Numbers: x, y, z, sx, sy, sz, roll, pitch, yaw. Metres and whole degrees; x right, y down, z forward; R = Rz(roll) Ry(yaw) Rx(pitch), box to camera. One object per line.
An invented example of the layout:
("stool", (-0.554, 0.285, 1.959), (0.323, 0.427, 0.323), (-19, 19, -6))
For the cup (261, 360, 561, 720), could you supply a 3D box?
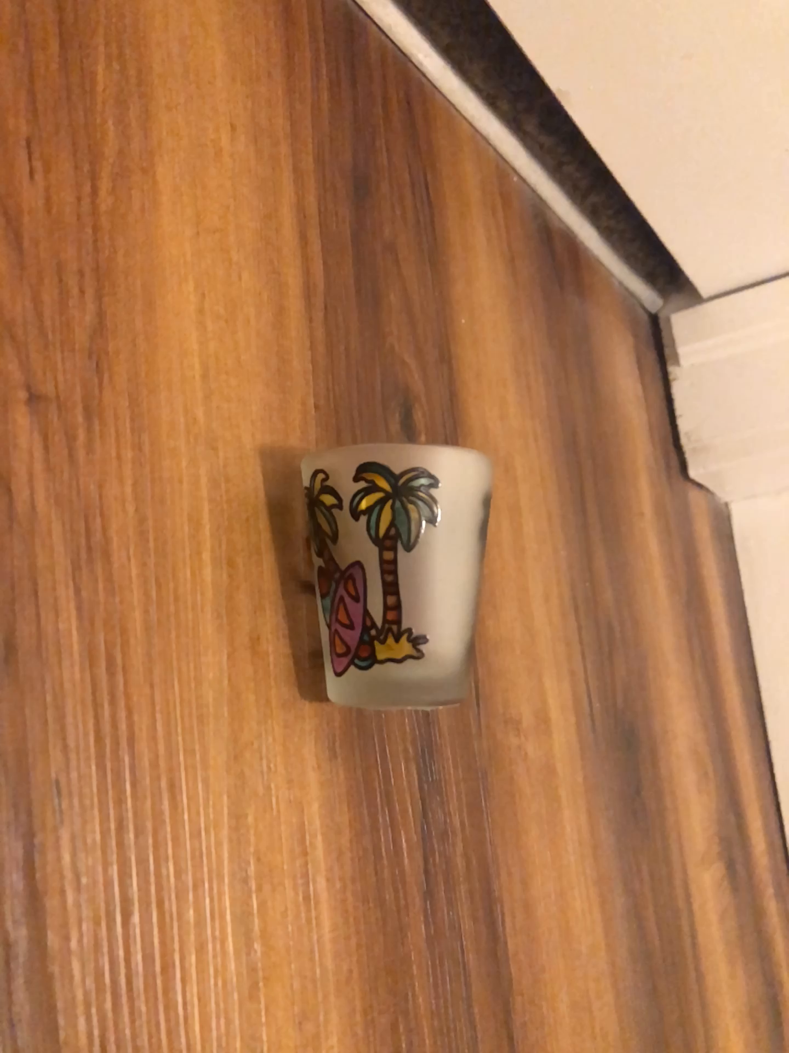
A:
("cup", (0.004, 0.007, 0.207), (0.050, 0.044, 0.070), (12, 69, -56))
